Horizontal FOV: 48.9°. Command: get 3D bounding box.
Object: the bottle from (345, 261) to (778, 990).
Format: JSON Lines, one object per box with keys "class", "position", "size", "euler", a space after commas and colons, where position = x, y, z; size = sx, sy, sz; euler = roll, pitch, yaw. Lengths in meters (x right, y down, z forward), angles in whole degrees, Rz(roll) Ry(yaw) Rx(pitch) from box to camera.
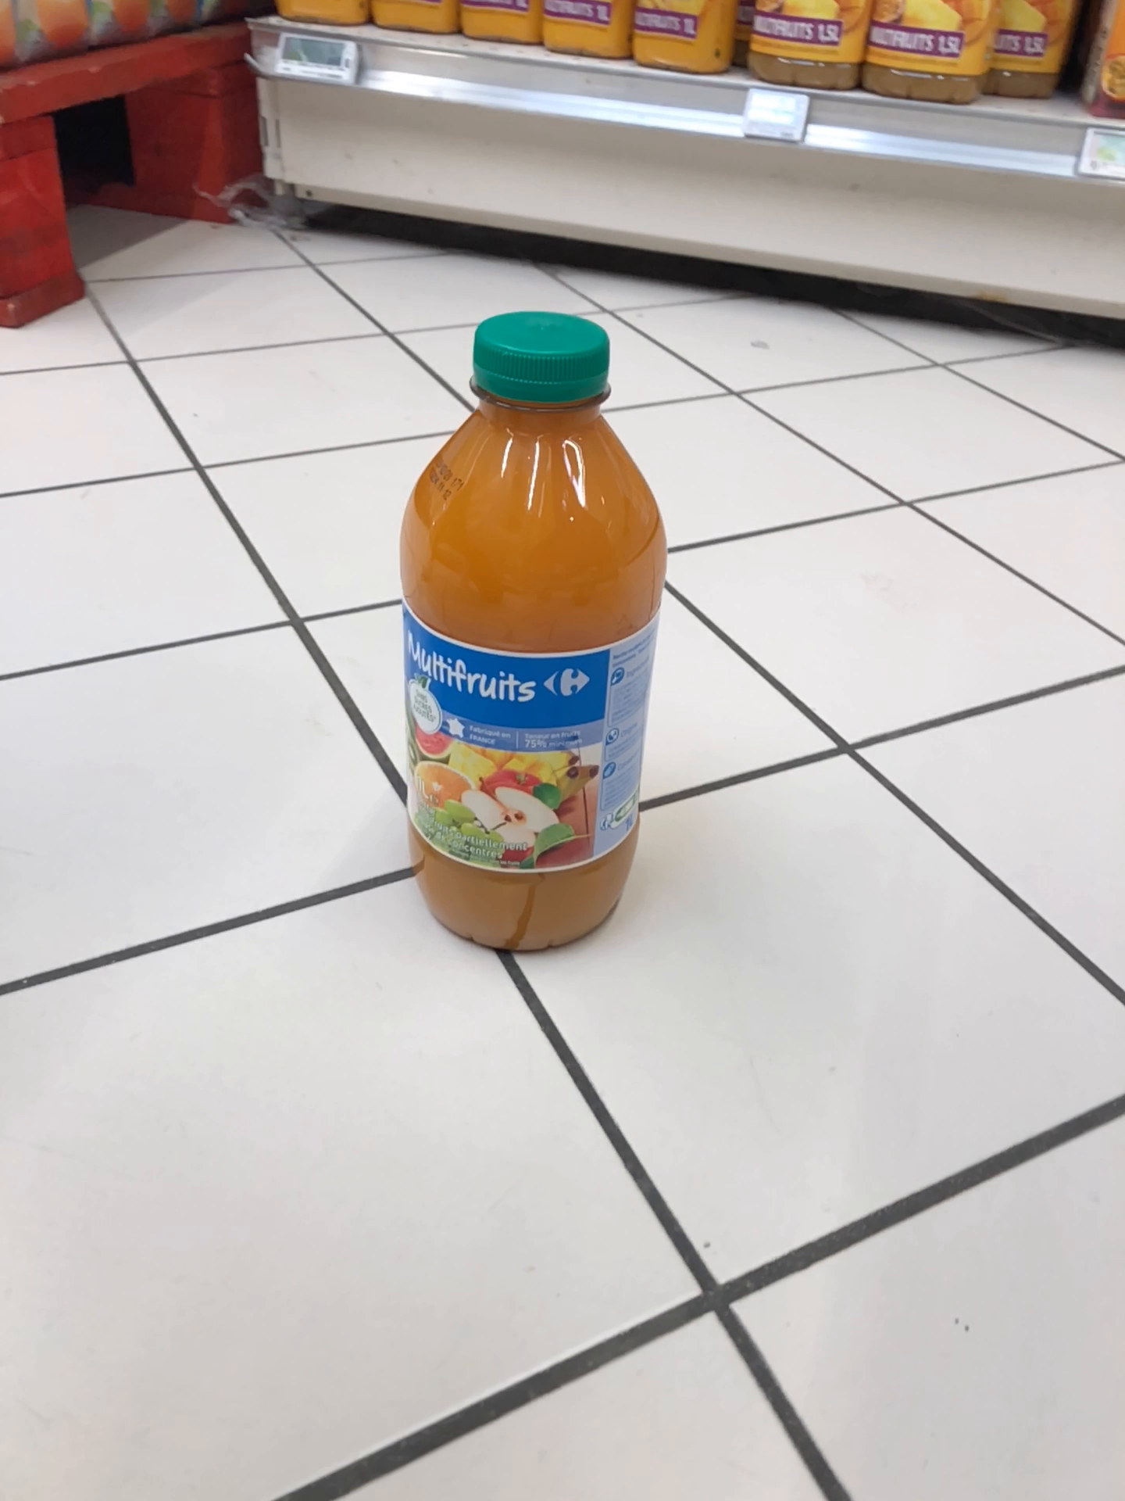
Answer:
{"class": "bottle", "position": [-0.002, -0.040, 0.424], "size": [0.100, 0.209, 0.101], "euler": [3, 35, -2]}
